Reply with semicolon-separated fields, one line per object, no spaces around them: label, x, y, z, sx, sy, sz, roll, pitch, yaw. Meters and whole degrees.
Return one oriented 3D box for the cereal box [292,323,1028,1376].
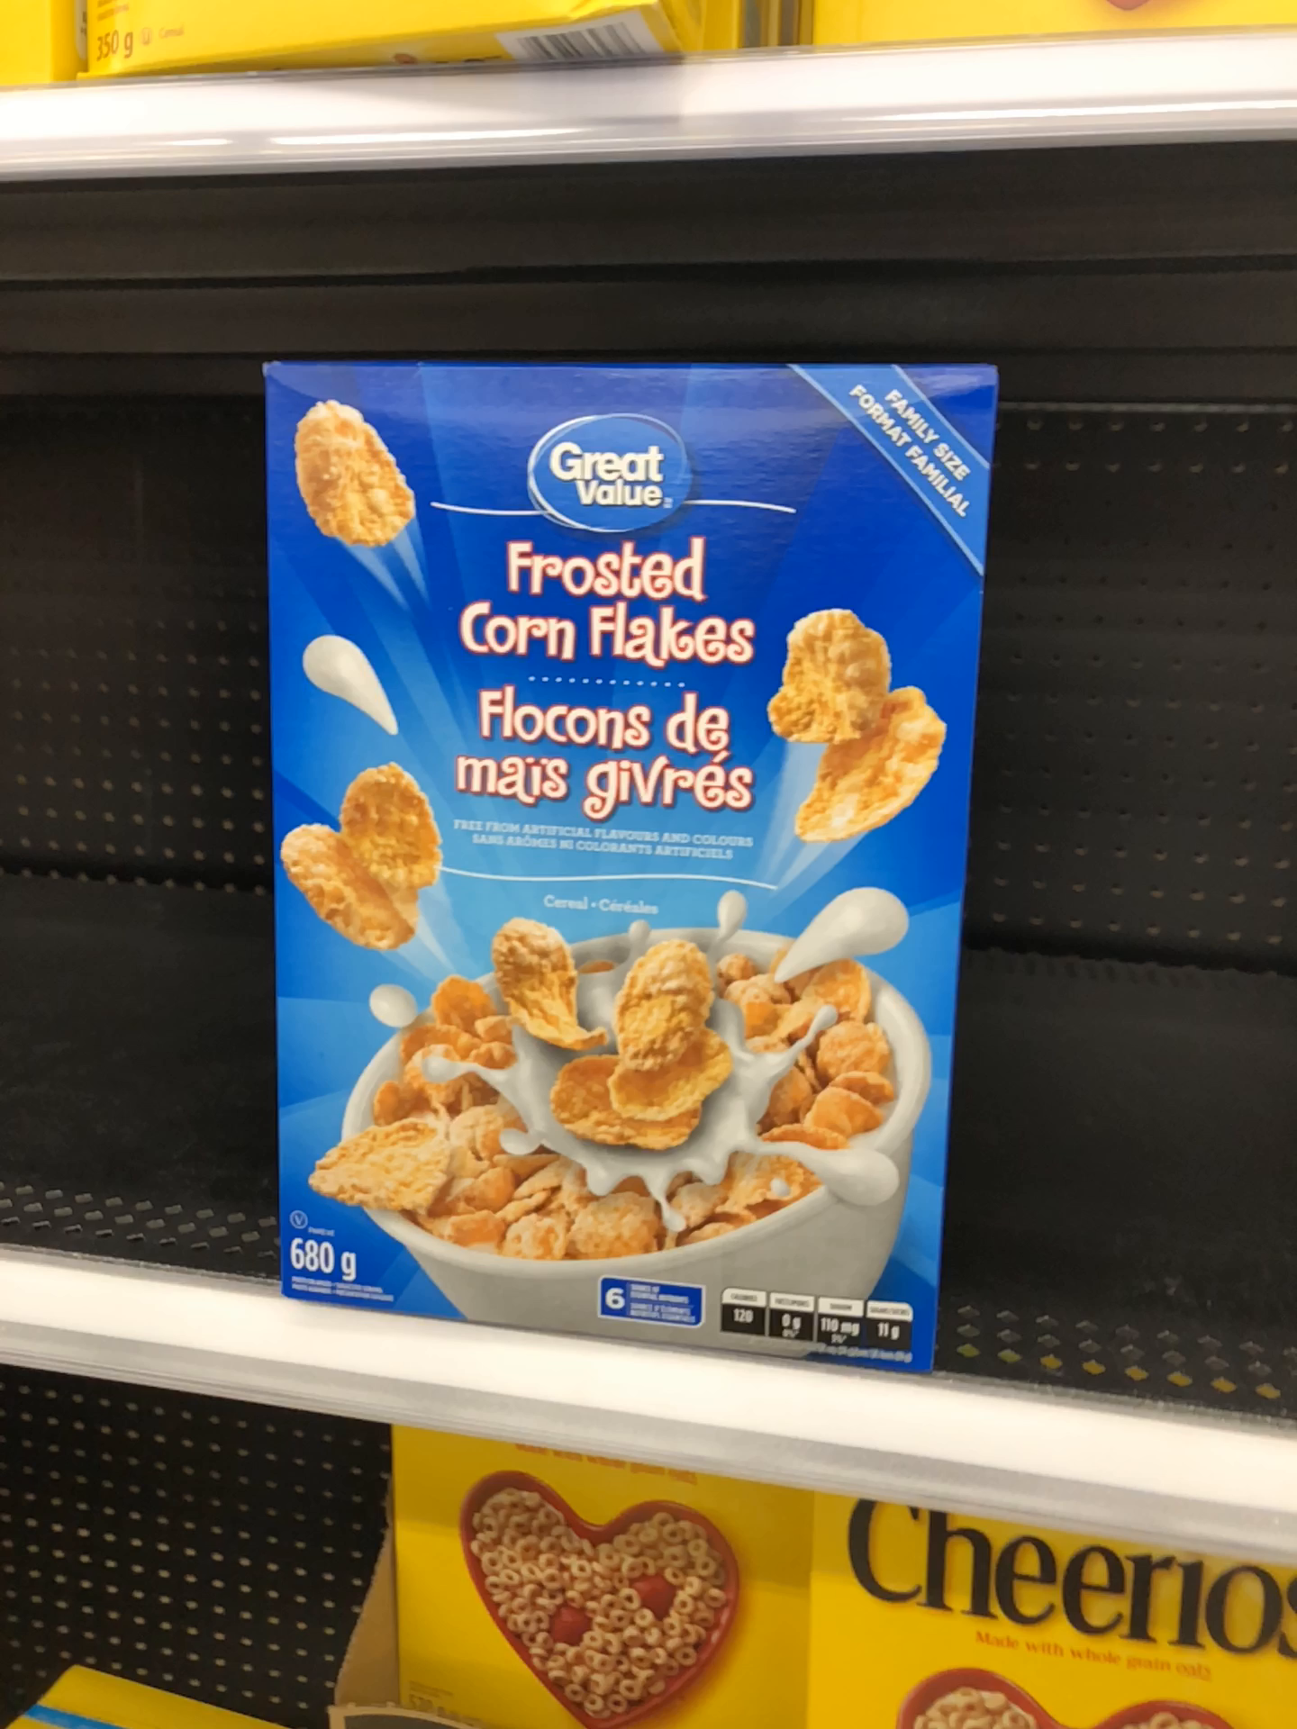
cereal box;0.001;-0.007;0.471;0.210;0.309;0.080;3;10;8
